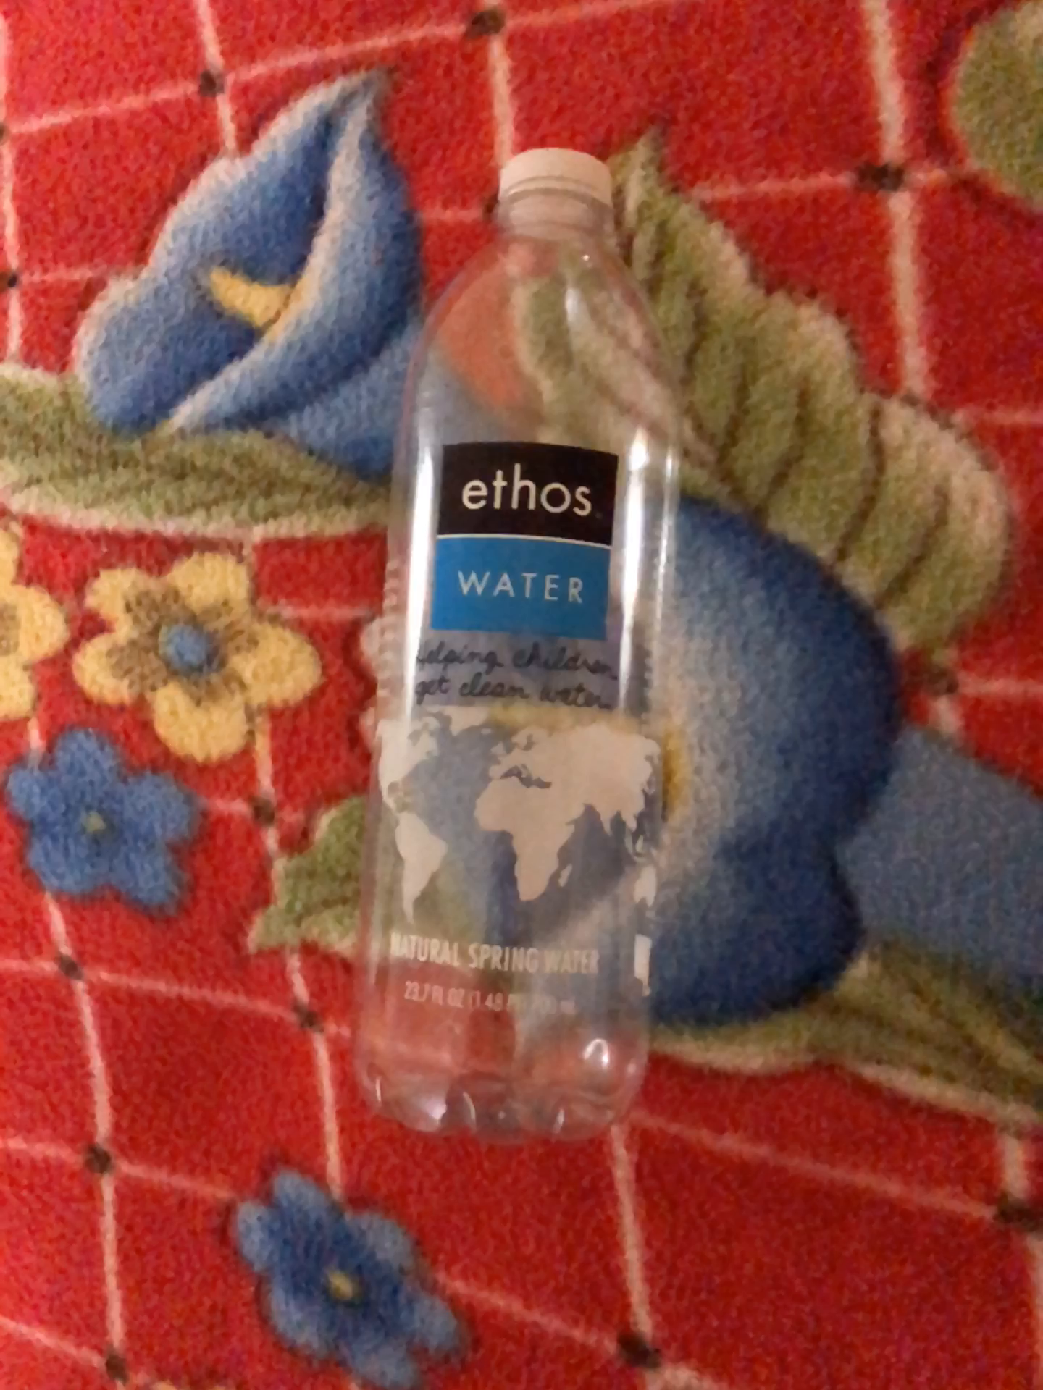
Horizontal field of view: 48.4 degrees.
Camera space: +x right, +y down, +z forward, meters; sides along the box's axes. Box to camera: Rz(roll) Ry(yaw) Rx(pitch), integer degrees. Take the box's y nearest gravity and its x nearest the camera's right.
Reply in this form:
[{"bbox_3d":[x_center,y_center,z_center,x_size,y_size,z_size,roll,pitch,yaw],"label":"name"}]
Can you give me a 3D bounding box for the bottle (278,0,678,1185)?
[{"bbox_3d":[-0.007,-0.023,0.269,0.070,0.070,0.240,3,89,3],"label":"bottle"}]
